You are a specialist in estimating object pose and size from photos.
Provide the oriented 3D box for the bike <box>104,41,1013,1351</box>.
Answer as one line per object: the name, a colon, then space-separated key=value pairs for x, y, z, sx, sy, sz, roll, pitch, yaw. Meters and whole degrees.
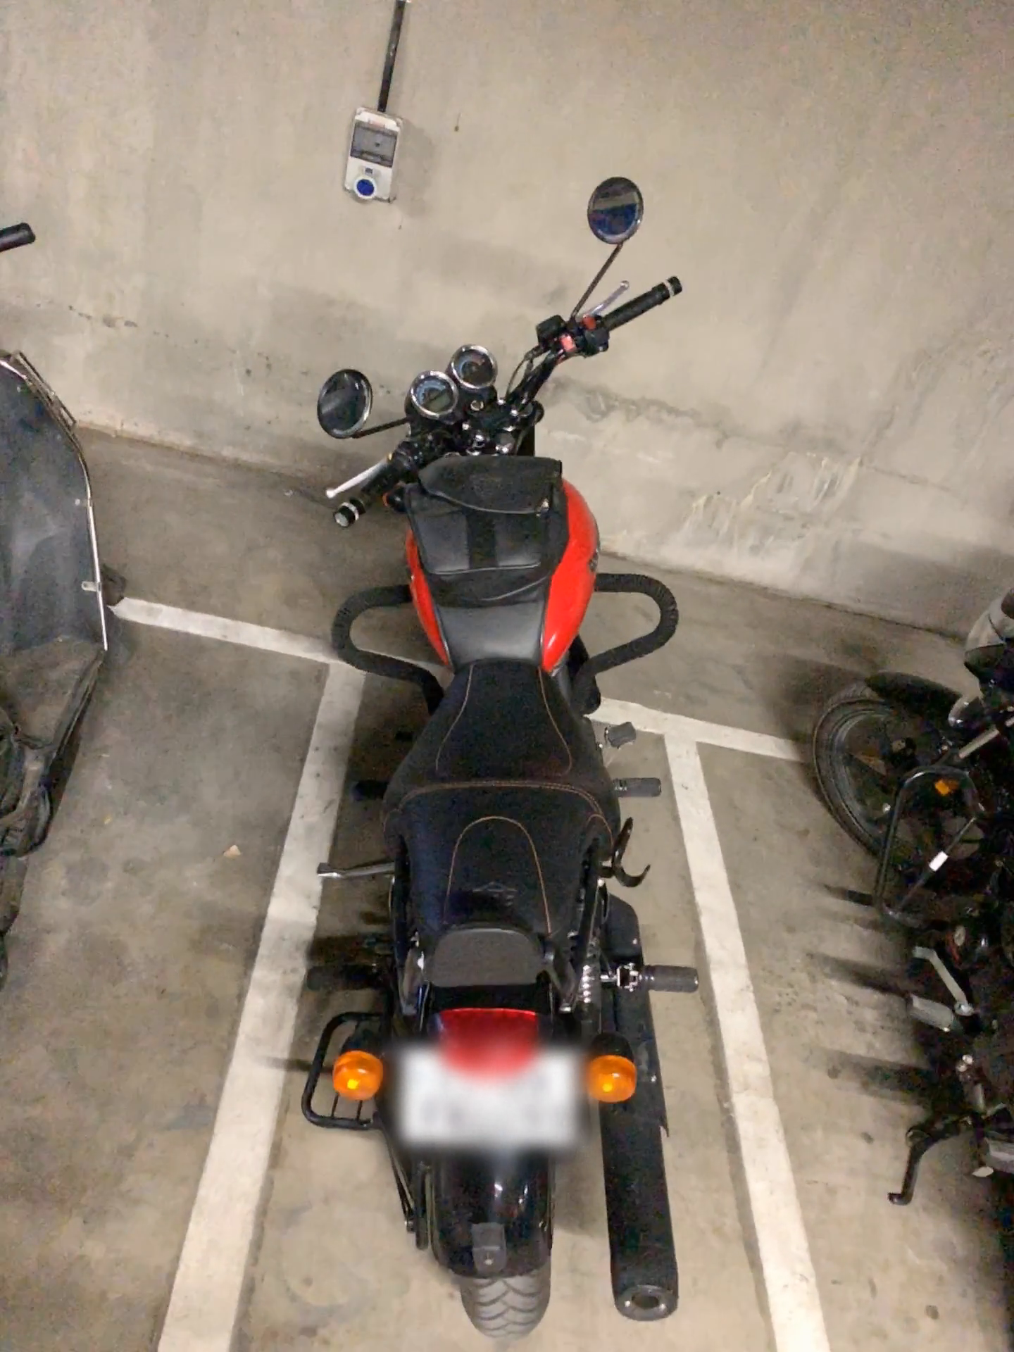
bike: x=-0.151 y=-0.084 z=1.868 sx=0.829 sy=1.301 sz=1.843 roll=6 pitch=39 yaw=-17
